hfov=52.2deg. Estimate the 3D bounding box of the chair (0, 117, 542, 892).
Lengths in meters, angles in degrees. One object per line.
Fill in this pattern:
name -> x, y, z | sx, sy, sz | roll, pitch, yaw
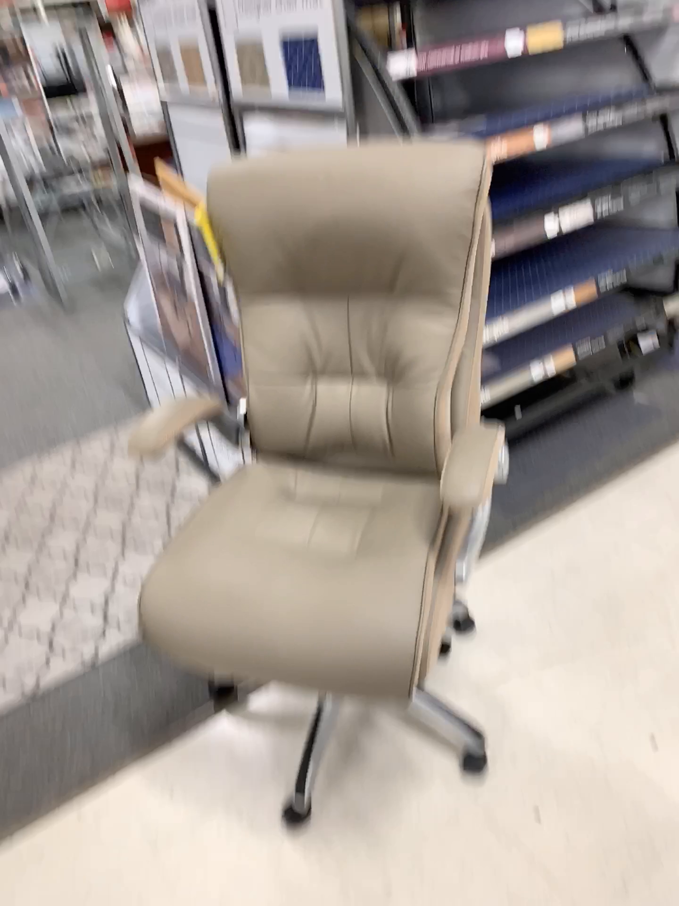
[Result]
chair -> -0.045, 0.072, 1.328 | 0.710, 1.144, 0.723 | 6, 35, 21
